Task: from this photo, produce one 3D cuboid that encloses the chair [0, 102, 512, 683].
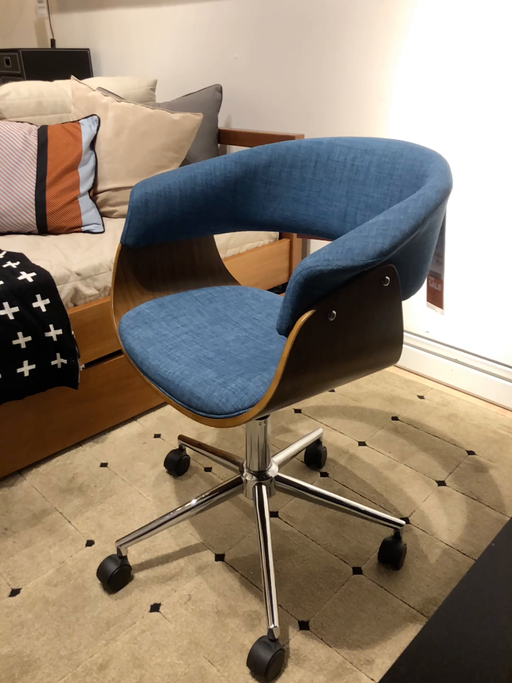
[{"bbox_3d":[-0.017,0.010,1.036,0.672,0.774,0.612,-22,33,-36],"label":"chair"}]
